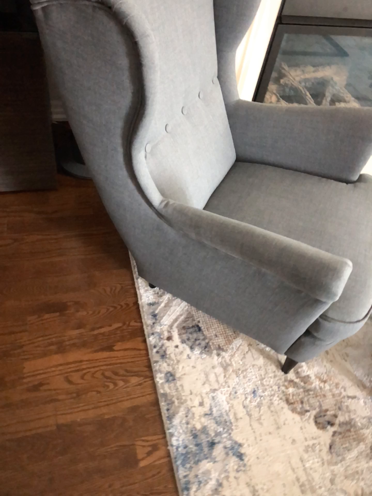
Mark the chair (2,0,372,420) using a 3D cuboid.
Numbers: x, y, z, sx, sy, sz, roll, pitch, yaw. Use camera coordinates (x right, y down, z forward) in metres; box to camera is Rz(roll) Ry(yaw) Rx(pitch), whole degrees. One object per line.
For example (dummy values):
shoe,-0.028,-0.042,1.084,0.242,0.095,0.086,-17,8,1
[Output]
chair,0.200,-0.230,1.163,0.850,0.967,0.803,23,50,9
